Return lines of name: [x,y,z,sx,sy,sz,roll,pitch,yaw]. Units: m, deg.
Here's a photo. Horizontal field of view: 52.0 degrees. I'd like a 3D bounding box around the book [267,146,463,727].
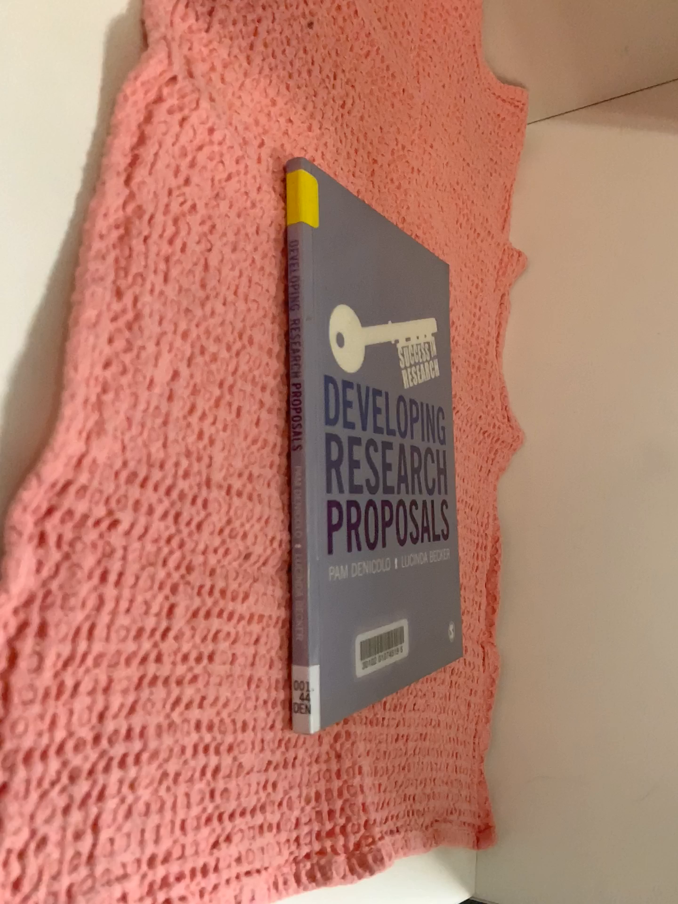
book: [0.021,-0.004,0.347,0.166,0.015,0.230,9,78,-59]
